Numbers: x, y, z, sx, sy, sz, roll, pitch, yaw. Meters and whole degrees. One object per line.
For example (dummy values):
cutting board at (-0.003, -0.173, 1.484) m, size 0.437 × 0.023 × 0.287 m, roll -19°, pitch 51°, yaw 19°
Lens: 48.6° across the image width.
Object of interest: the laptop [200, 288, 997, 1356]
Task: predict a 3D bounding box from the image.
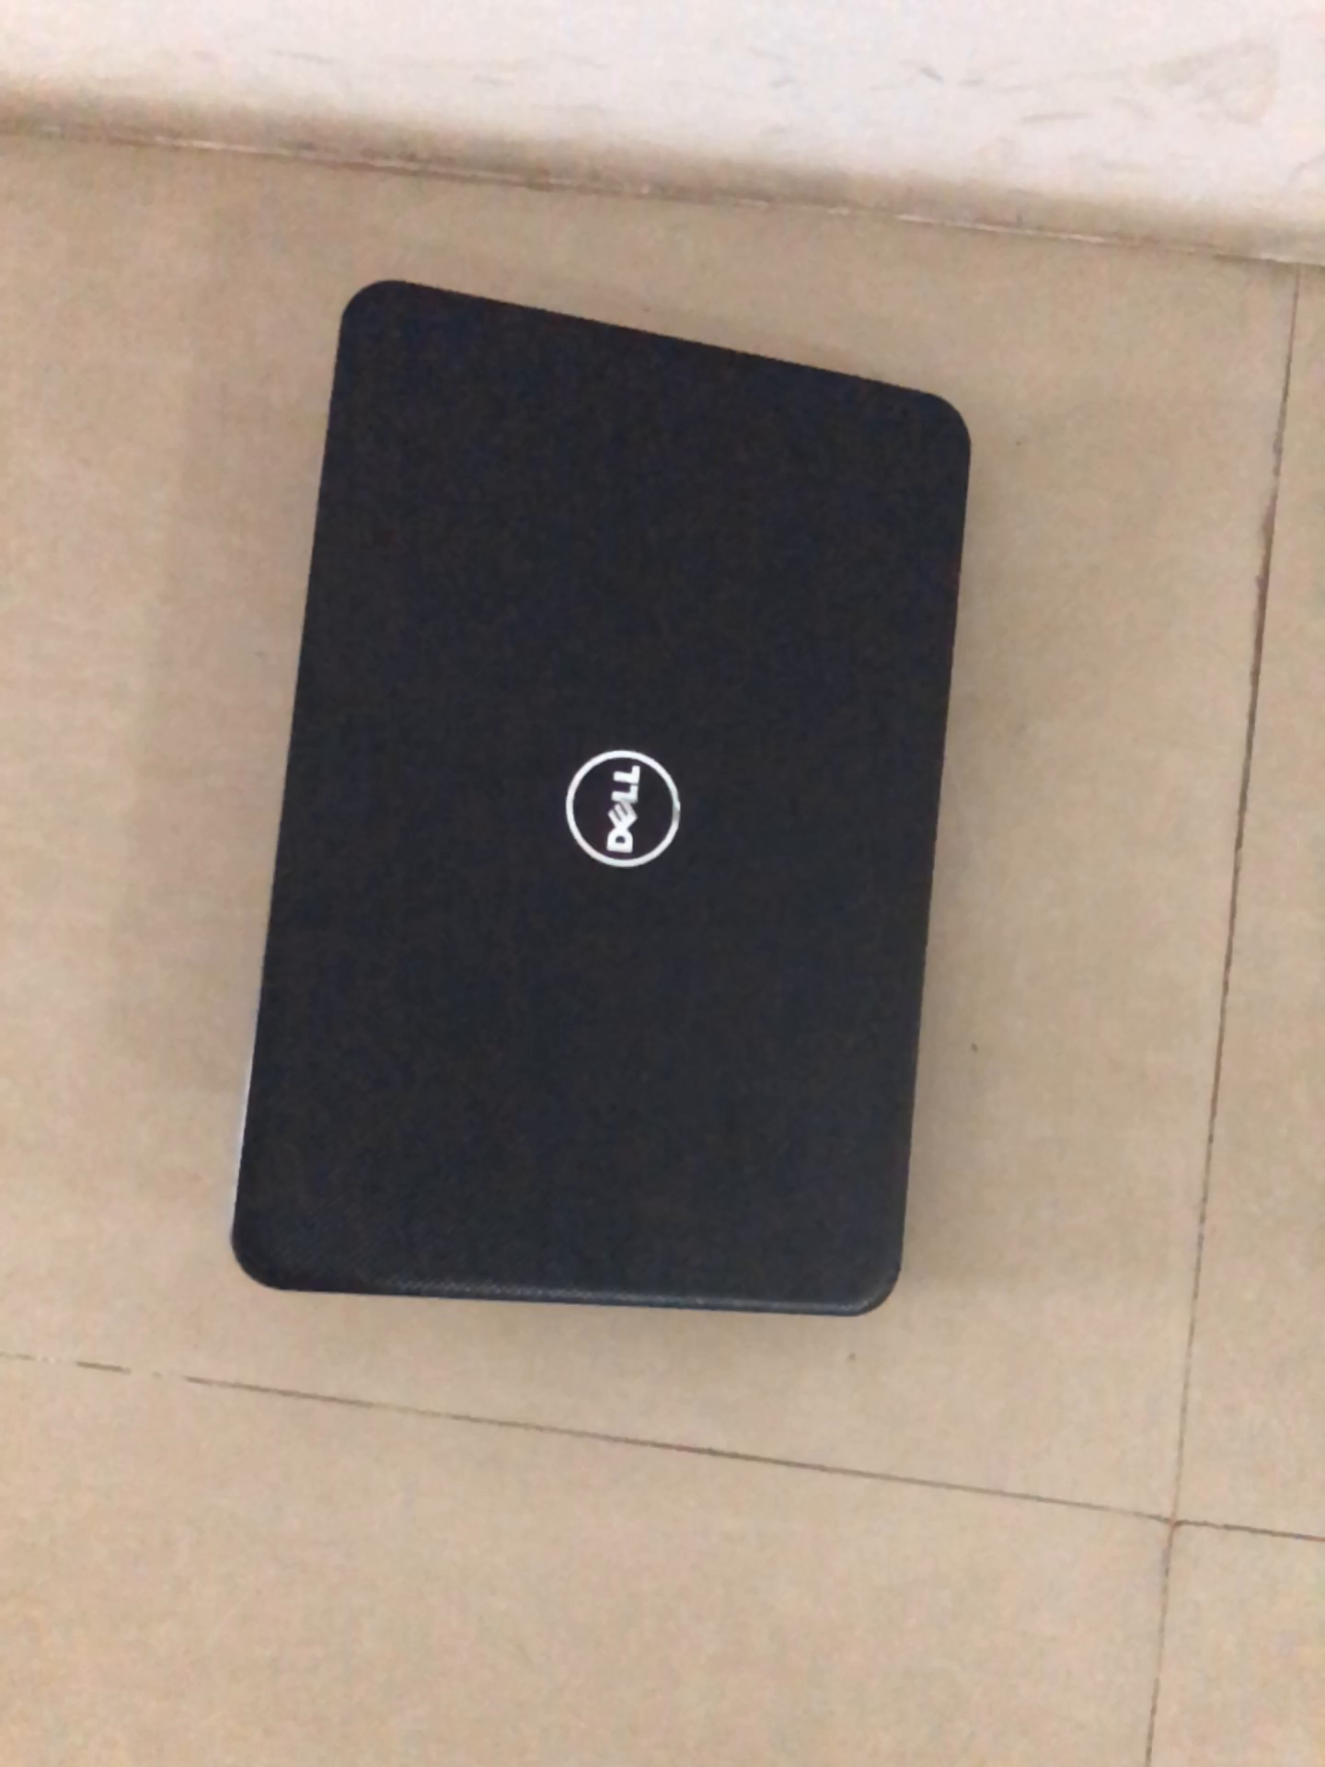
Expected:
laptop at (-0.021, -0.026, 0.555) m, size 0.247 × 0.078 × 0.357 m, roll 5°, pitch 87°, yaw 4°
